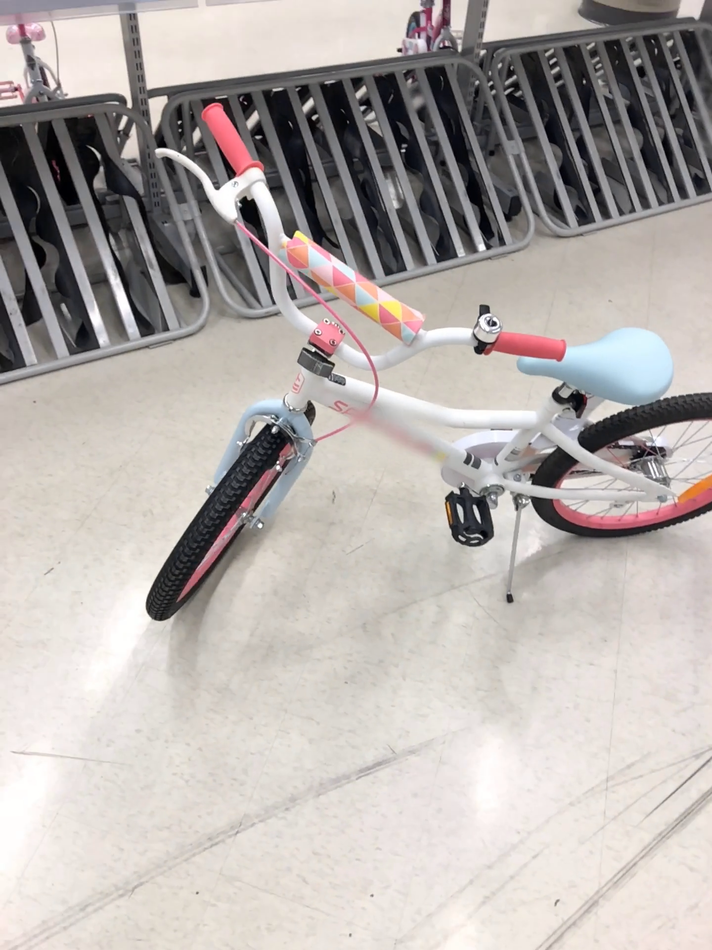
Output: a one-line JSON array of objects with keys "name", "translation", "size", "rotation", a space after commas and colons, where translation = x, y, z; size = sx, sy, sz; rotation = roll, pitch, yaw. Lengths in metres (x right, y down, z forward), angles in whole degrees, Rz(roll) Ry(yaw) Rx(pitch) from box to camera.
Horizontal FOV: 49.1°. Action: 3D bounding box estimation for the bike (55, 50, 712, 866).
[{"name": "bike", "translation": [0.266, -0.032, 1.305], "size": [1.252, 0.962, 0.635], "rotation": [-10, 48, -13]}]
